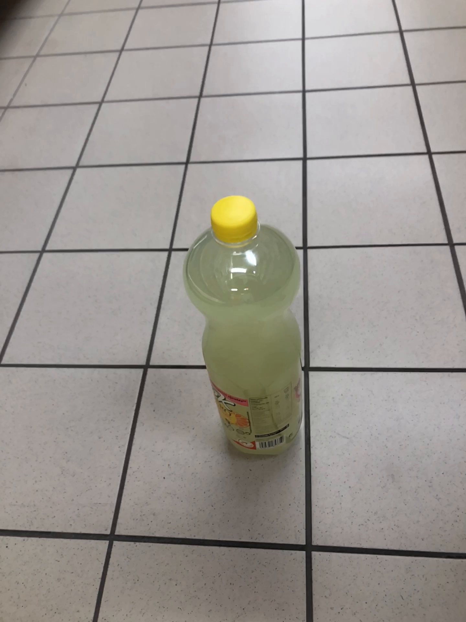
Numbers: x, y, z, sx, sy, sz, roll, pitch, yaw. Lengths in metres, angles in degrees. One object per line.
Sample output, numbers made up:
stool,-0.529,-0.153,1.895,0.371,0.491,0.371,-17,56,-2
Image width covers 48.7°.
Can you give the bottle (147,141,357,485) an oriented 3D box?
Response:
bottle,0.022,0.028,0.437,0.100,0.298,0.111,-18,53,-6
